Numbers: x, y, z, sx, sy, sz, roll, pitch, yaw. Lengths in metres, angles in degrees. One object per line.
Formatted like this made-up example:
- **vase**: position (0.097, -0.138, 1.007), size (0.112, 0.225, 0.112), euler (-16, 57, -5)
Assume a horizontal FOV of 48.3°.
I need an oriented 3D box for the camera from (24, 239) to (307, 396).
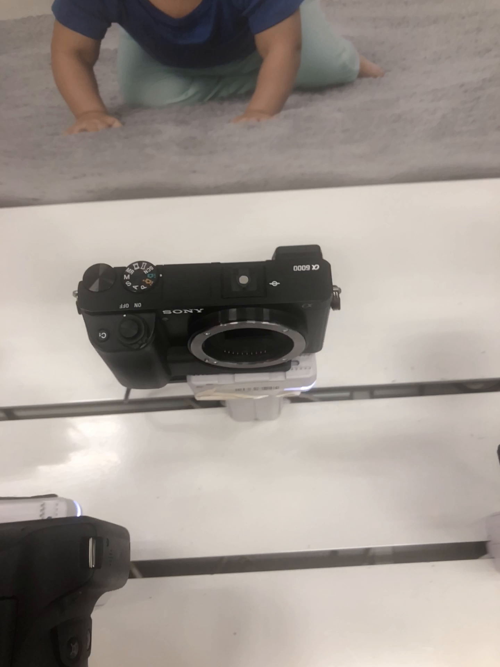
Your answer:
- **camera**: position (-0.036, -0.005, 0.277), size (0.120, 0.070, 0.040), euler (-5, 63, -1)
